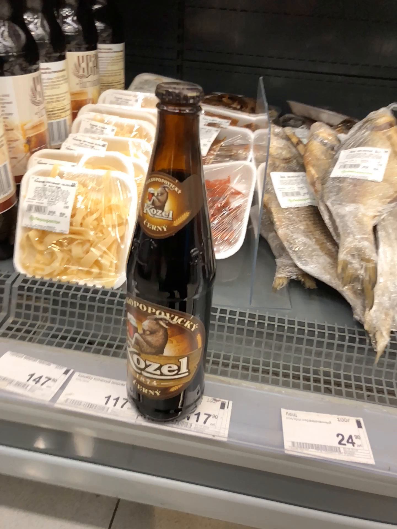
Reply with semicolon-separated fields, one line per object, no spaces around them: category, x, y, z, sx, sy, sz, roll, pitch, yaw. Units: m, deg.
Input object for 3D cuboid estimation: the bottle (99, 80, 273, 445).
bottle;-0.013;0.007;0.297;0.070;0.231;0.070;4;32;-2
